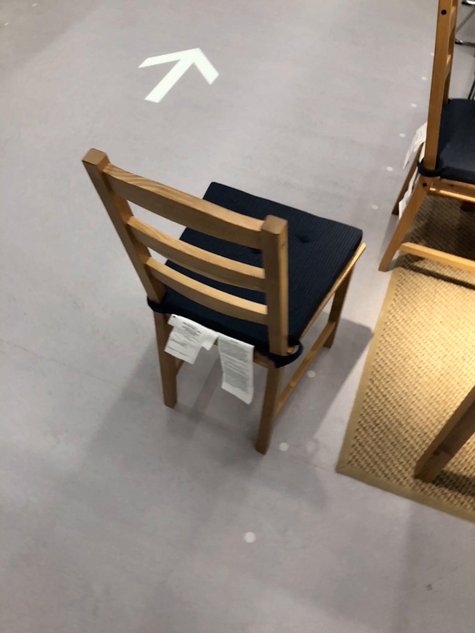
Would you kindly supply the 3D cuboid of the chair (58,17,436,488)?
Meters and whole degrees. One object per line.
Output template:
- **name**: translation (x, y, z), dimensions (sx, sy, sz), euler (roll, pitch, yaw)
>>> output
- **chair**: translation (0.043, -0.078, 1.197), dimensions (0.441, 0.865, 0.522), euler (21, 56, 14)
